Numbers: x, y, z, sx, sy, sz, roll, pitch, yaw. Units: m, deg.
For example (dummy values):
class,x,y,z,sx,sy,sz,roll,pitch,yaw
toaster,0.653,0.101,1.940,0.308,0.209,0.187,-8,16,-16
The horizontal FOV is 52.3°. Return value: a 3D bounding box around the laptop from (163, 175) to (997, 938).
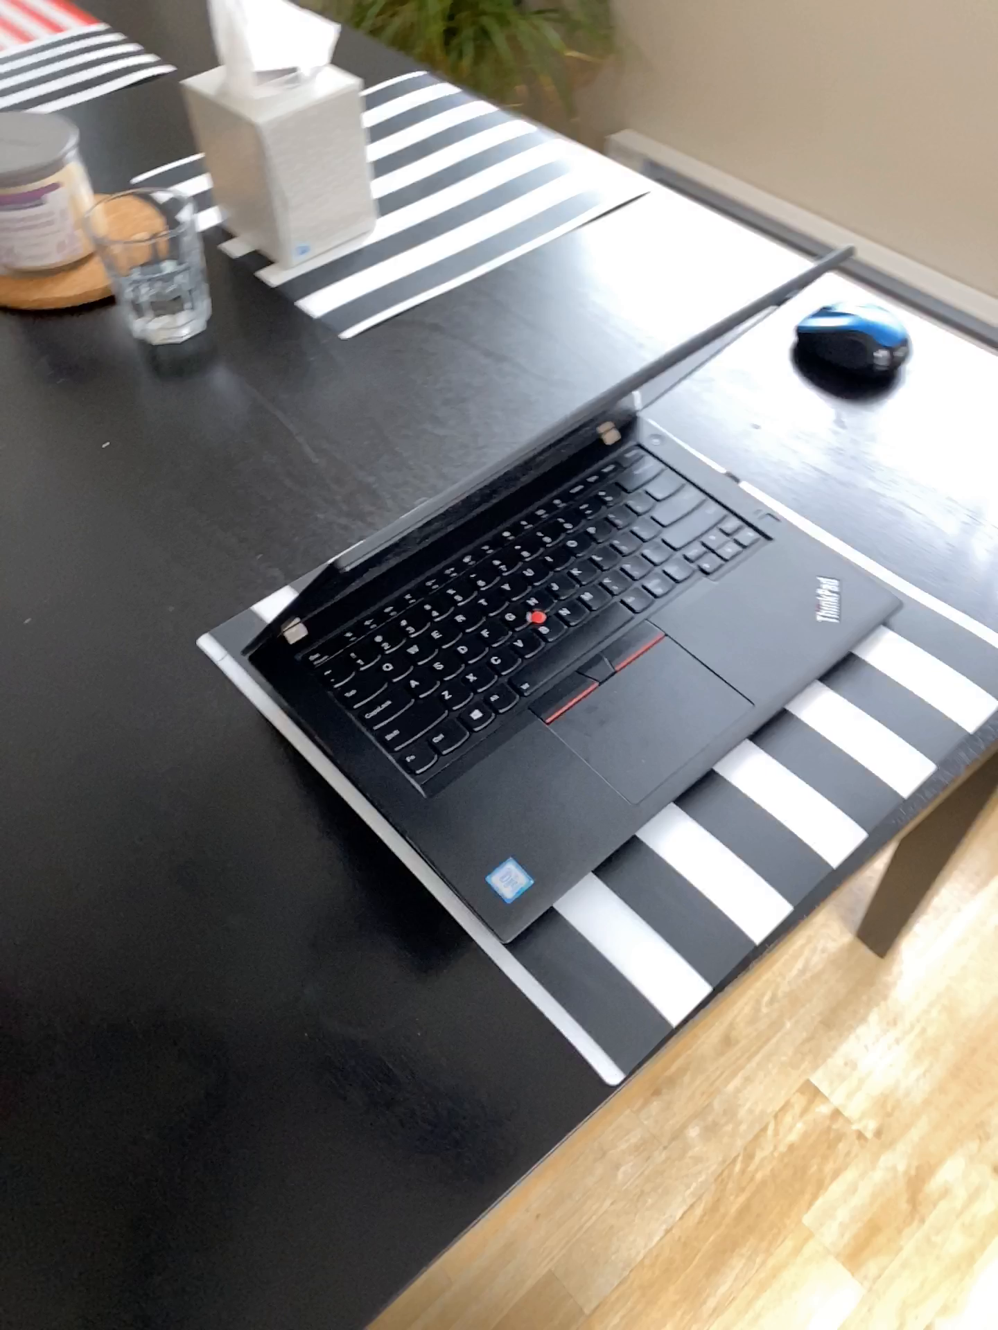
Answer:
class,x,y,z,sx,sy,sz,roll,pitch,yaw
laptop,0.049,-0.074,0.525,0.321,0.175,0.221,-35,59,-24
